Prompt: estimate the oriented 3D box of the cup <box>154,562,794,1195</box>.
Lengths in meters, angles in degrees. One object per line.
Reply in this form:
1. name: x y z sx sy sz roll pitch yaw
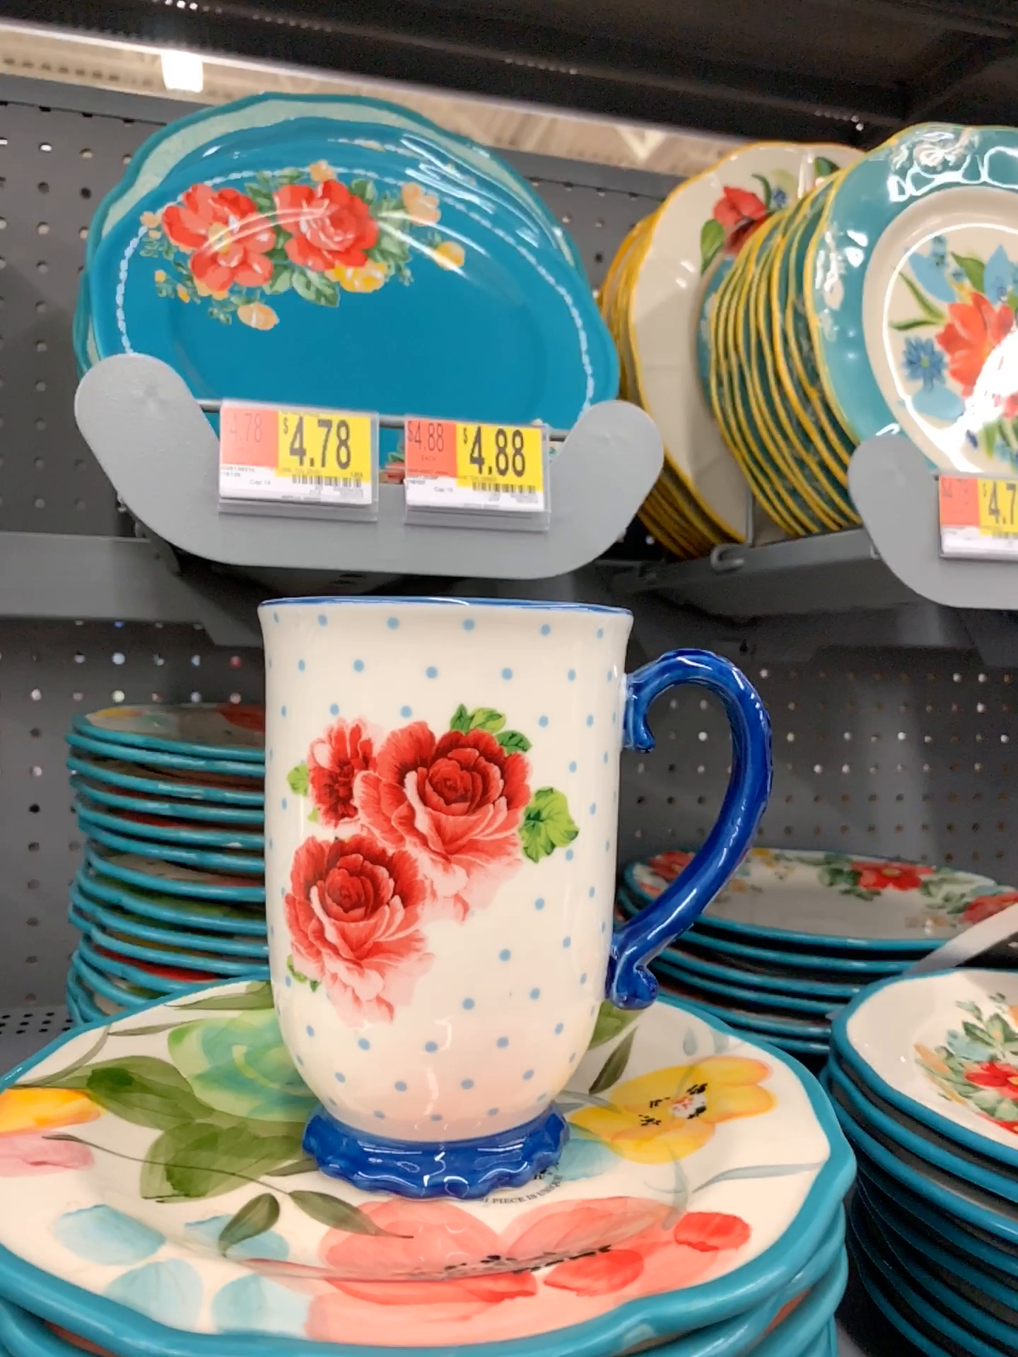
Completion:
1. cup: -0.009 0.041 0.265 0.130 0.130 0.090 2 1 -2
